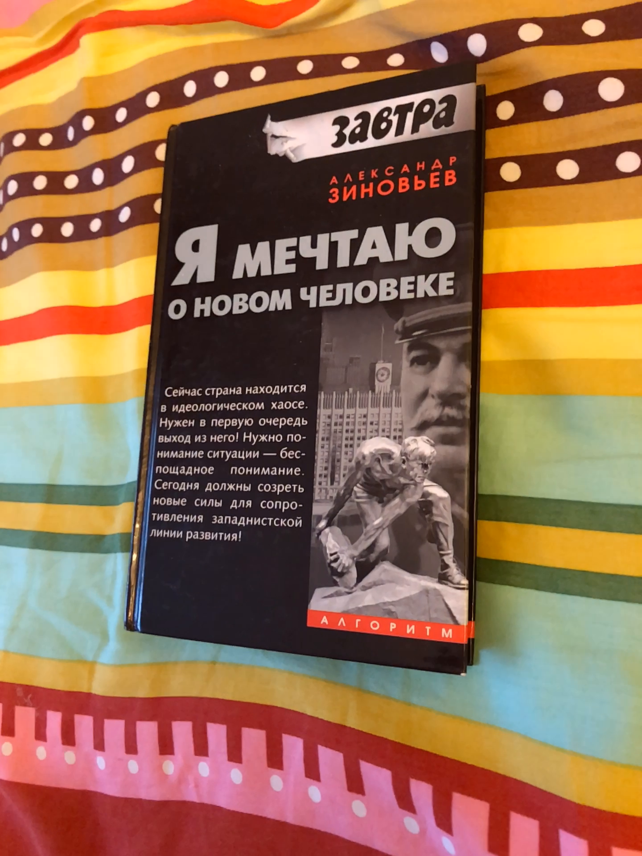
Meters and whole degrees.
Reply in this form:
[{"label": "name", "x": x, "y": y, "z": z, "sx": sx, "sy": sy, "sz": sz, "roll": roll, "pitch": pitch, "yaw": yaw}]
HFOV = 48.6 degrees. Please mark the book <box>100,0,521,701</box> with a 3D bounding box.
[{"label": "book", "x": -0.004, "y": -0.031, "z": 0.255, "sx": 0.140, "sy": 0.030, "sz": 0.220, "roll": 0, "pitch": 83, "yaw": 24}]
